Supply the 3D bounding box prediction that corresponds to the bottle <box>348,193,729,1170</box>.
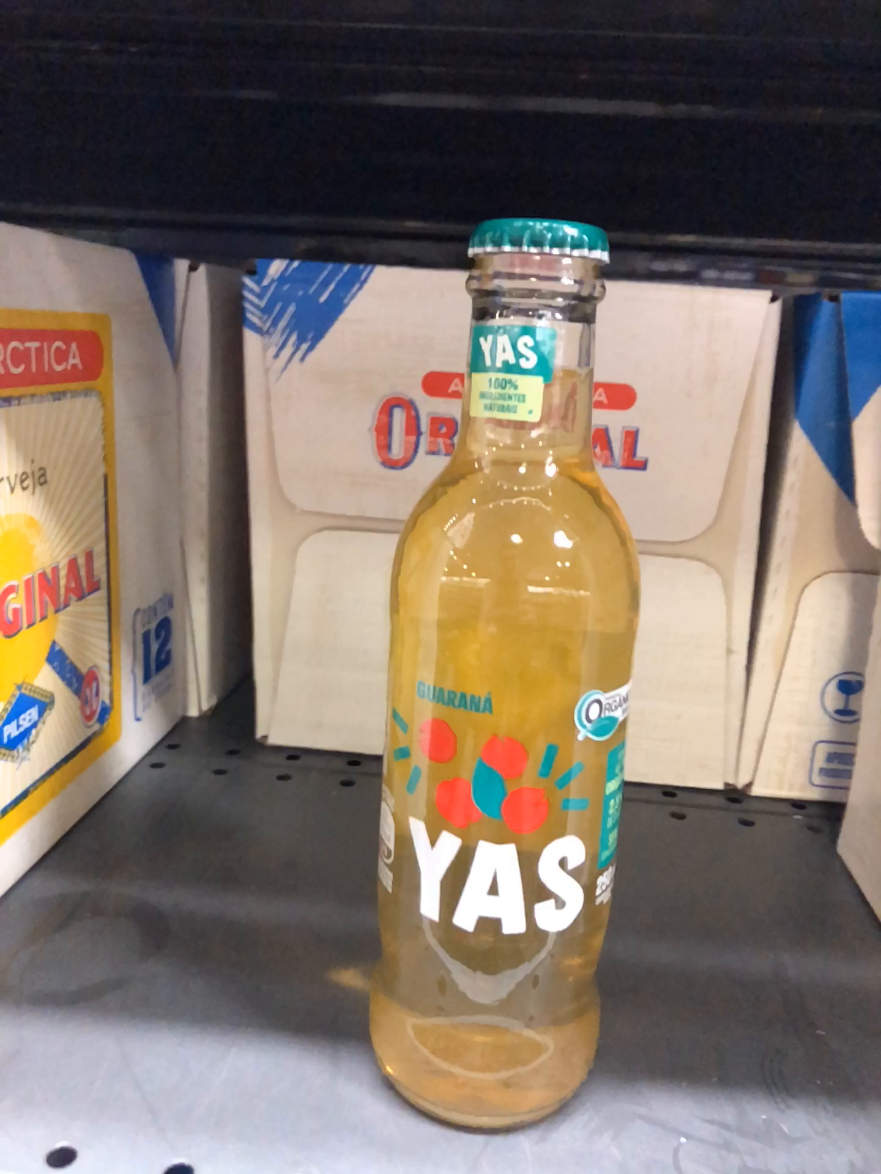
[{"bbox_3d":[0.016,0.022,0.222,0.060,0.199,0.060,3,14,-1],"label":"bottle"}]
